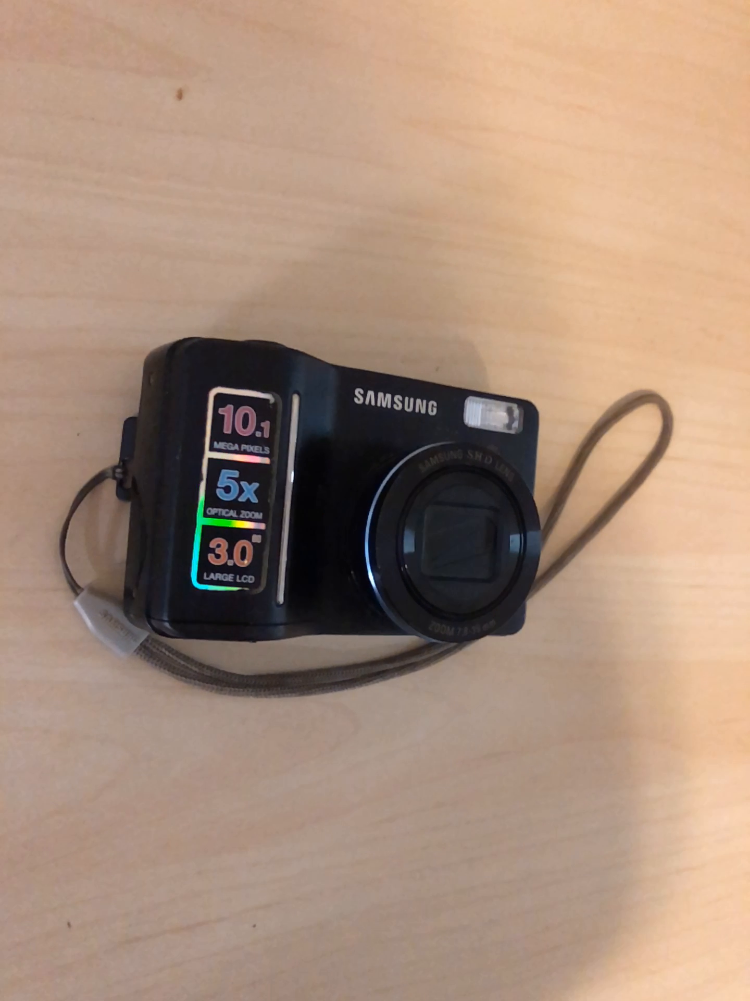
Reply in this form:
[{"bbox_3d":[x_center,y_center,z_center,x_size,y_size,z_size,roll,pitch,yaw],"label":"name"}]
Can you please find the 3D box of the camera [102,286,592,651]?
[{"bbox_3d":[-0.003,-0.002,0.201,0.110,0.030,0.070,6,86,-26],"label":"camera"}]
